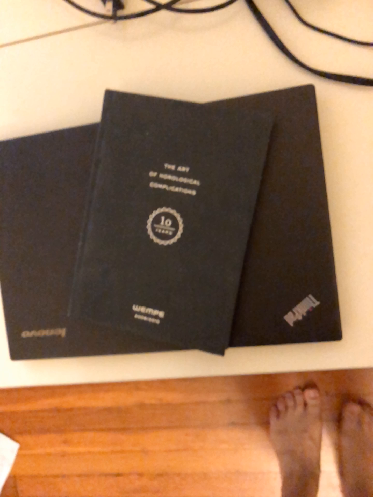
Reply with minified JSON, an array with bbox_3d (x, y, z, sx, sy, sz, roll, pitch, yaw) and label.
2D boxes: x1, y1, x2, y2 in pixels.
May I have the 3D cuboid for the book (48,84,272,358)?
[{"bbox_3d":[-0.027,-0.028,0.392,0.170,0.030,0.220,11,94,11],"label":"book"}]
